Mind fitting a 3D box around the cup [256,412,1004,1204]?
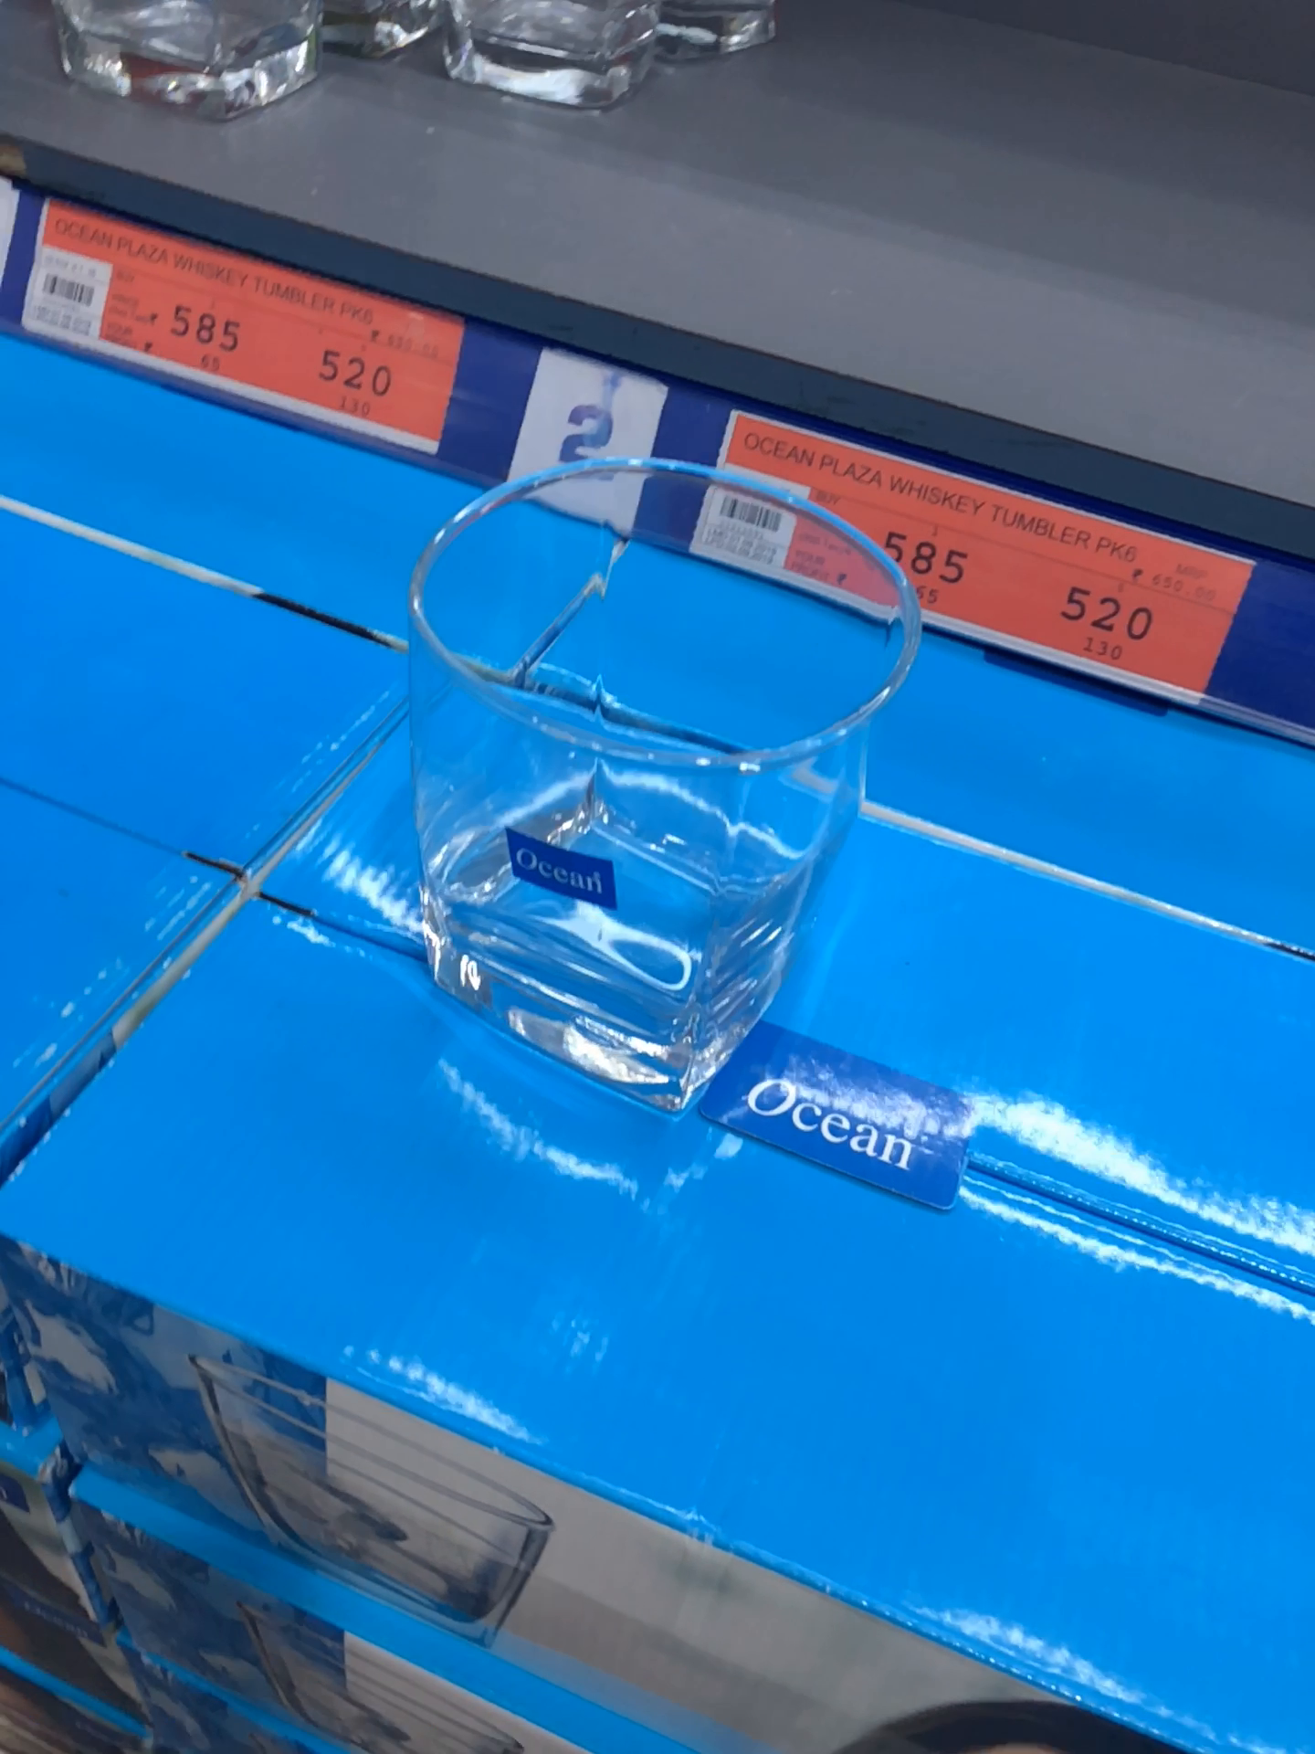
[{"bbox_3d":[-0.004,-0.016,0.265,0.090,0.080,0.090,4,44,-4],"label":"cup"}]
